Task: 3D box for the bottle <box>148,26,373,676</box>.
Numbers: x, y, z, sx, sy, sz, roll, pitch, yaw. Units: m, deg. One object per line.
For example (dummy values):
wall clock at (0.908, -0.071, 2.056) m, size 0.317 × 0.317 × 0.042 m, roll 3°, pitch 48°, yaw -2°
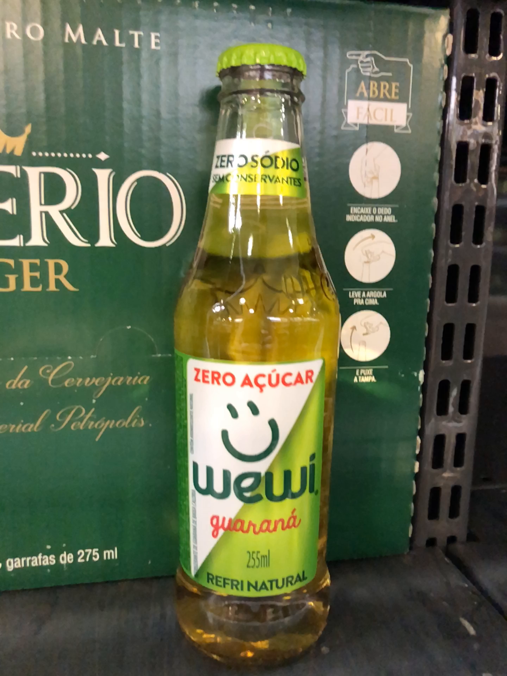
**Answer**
bottle at (0.001, 0.011, 0.192) m, size 0.060 × 0.199 × 0.050 m, roll 1°, pitch 10°, yaw 2°
